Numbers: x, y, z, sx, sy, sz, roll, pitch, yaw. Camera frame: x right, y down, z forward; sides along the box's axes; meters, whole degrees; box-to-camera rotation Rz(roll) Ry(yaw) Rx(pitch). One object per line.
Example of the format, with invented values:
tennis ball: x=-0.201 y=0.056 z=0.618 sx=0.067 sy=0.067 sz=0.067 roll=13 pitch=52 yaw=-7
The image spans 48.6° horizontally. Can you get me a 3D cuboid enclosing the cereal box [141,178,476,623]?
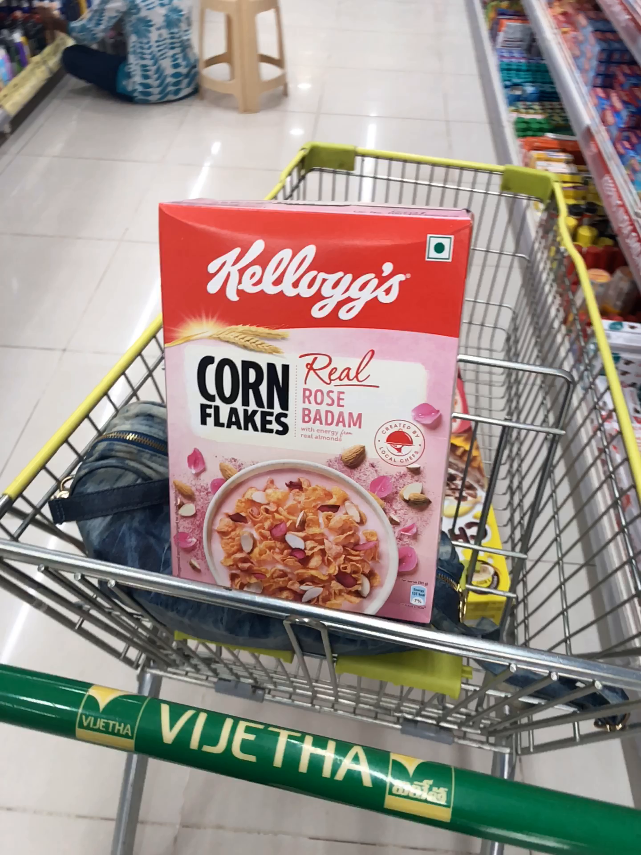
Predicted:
cereal box: x=-0.007 y=-0.014 z=0.484 sx=0.190 sy=0.279 sz=0.070 roll=6 pitch=26 yaw=10
